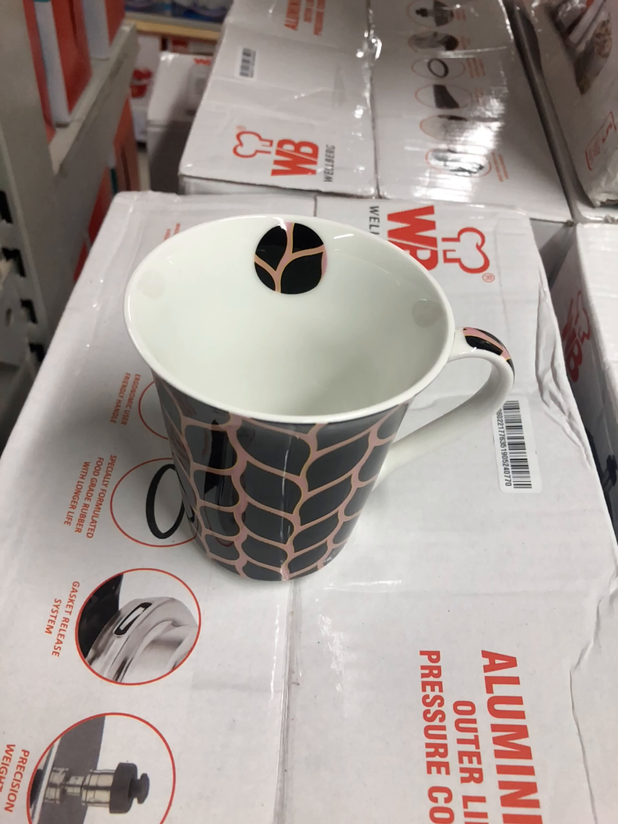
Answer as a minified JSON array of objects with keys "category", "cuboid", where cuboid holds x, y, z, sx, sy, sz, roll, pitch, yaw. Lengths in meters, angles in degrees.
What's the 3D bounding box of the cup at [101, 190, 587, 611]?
[{"category":"cup","cuboid":[0.001,-0.002,0.216,0.110,0.099,0.080,-2,50,-9]}]
